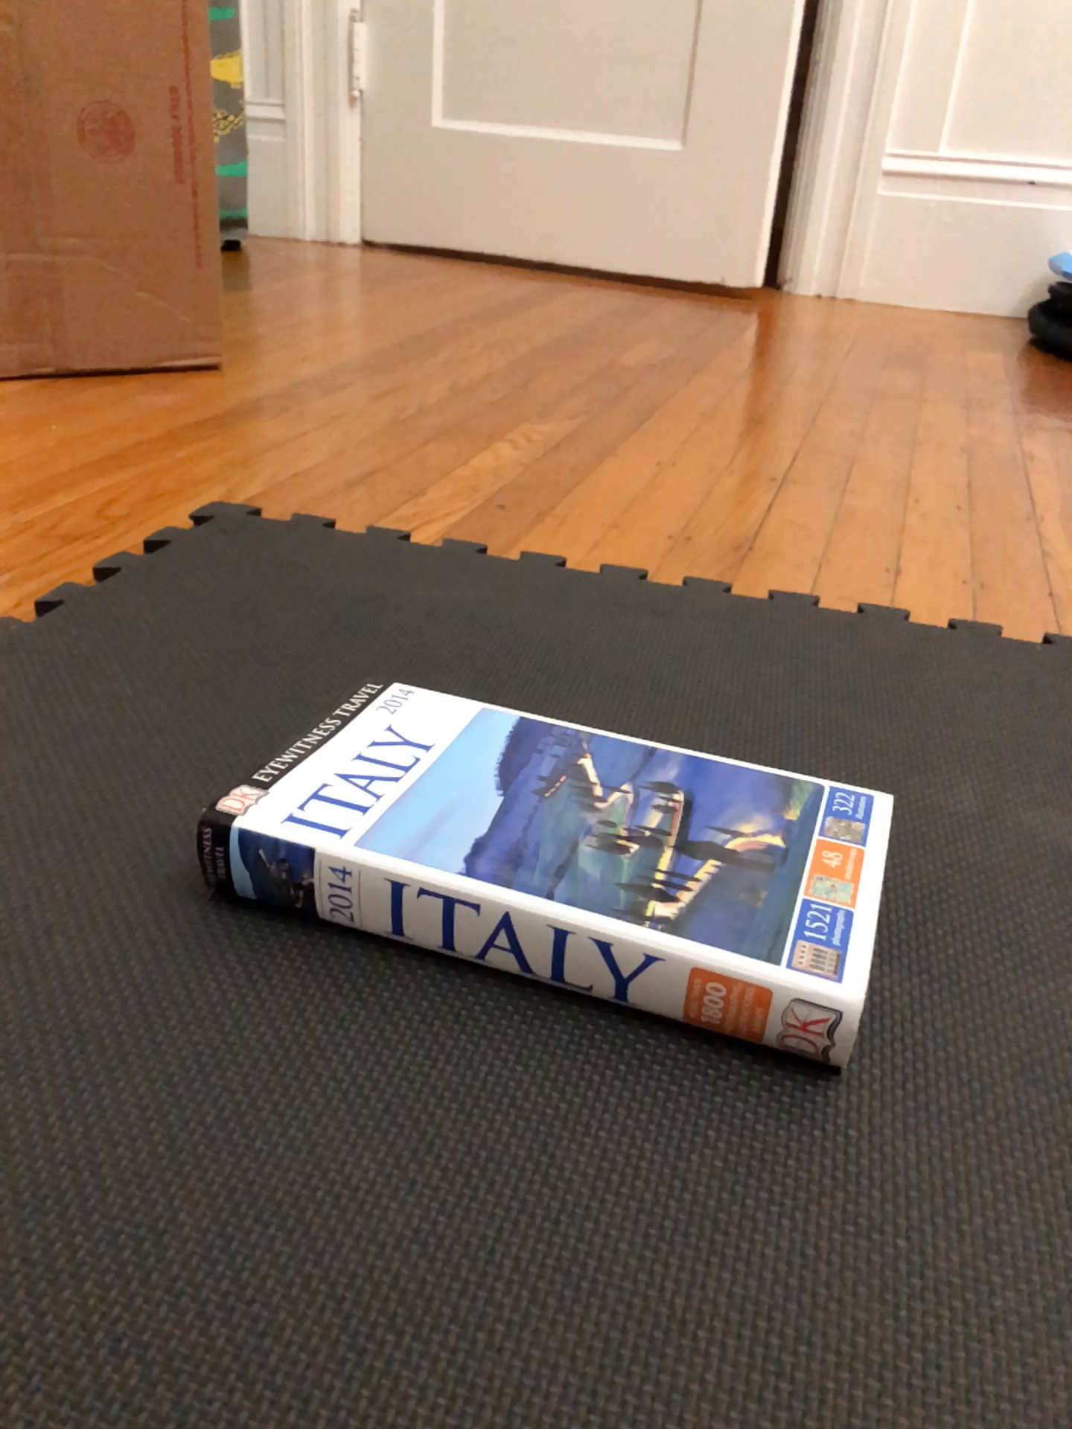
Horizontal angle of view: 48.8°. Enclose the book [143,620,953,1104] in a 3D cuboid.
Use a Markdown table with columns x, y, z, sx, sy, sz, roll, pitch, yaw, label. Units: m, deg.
| x | y | z | sx | sy | sz | roll | pitch | yaw | label |
| --- | --- | --- | --- | --- | --- | --- | --- | --- | --- |
| 0.016 | 0.035 | 0.426 | 0.250 | 0.040 | 0.161 | 12 | 28 | 13 | book |
